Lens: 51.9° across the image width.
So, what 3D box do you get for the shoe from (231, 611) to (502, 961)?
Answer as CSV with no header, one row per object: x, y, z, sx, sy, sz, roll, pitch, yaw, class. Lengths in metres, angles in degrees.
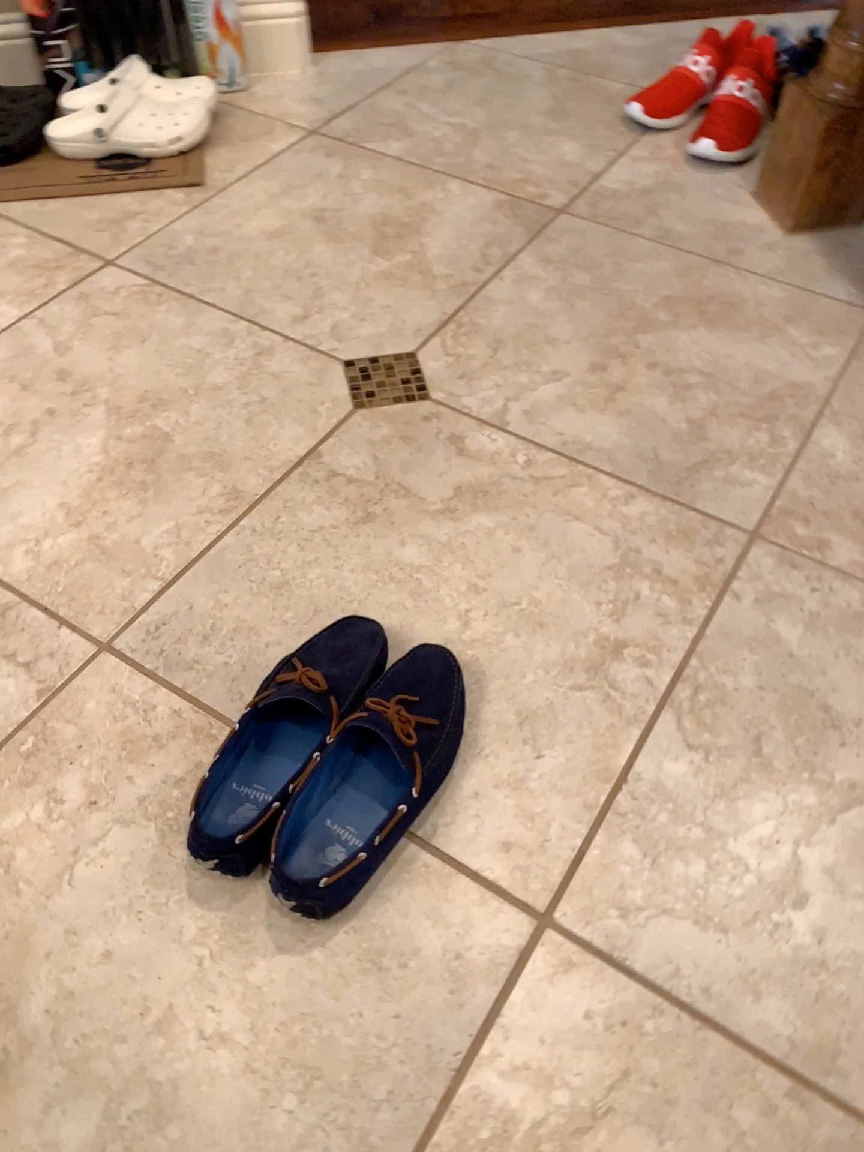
-0.046,0.171,0.777,0.099,0.074,0.282,23,54,17,shoe

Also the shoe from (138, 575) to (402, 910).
-0.131,0.138,0.800,0.099,0.074,0.282,19,53,14,shoe
